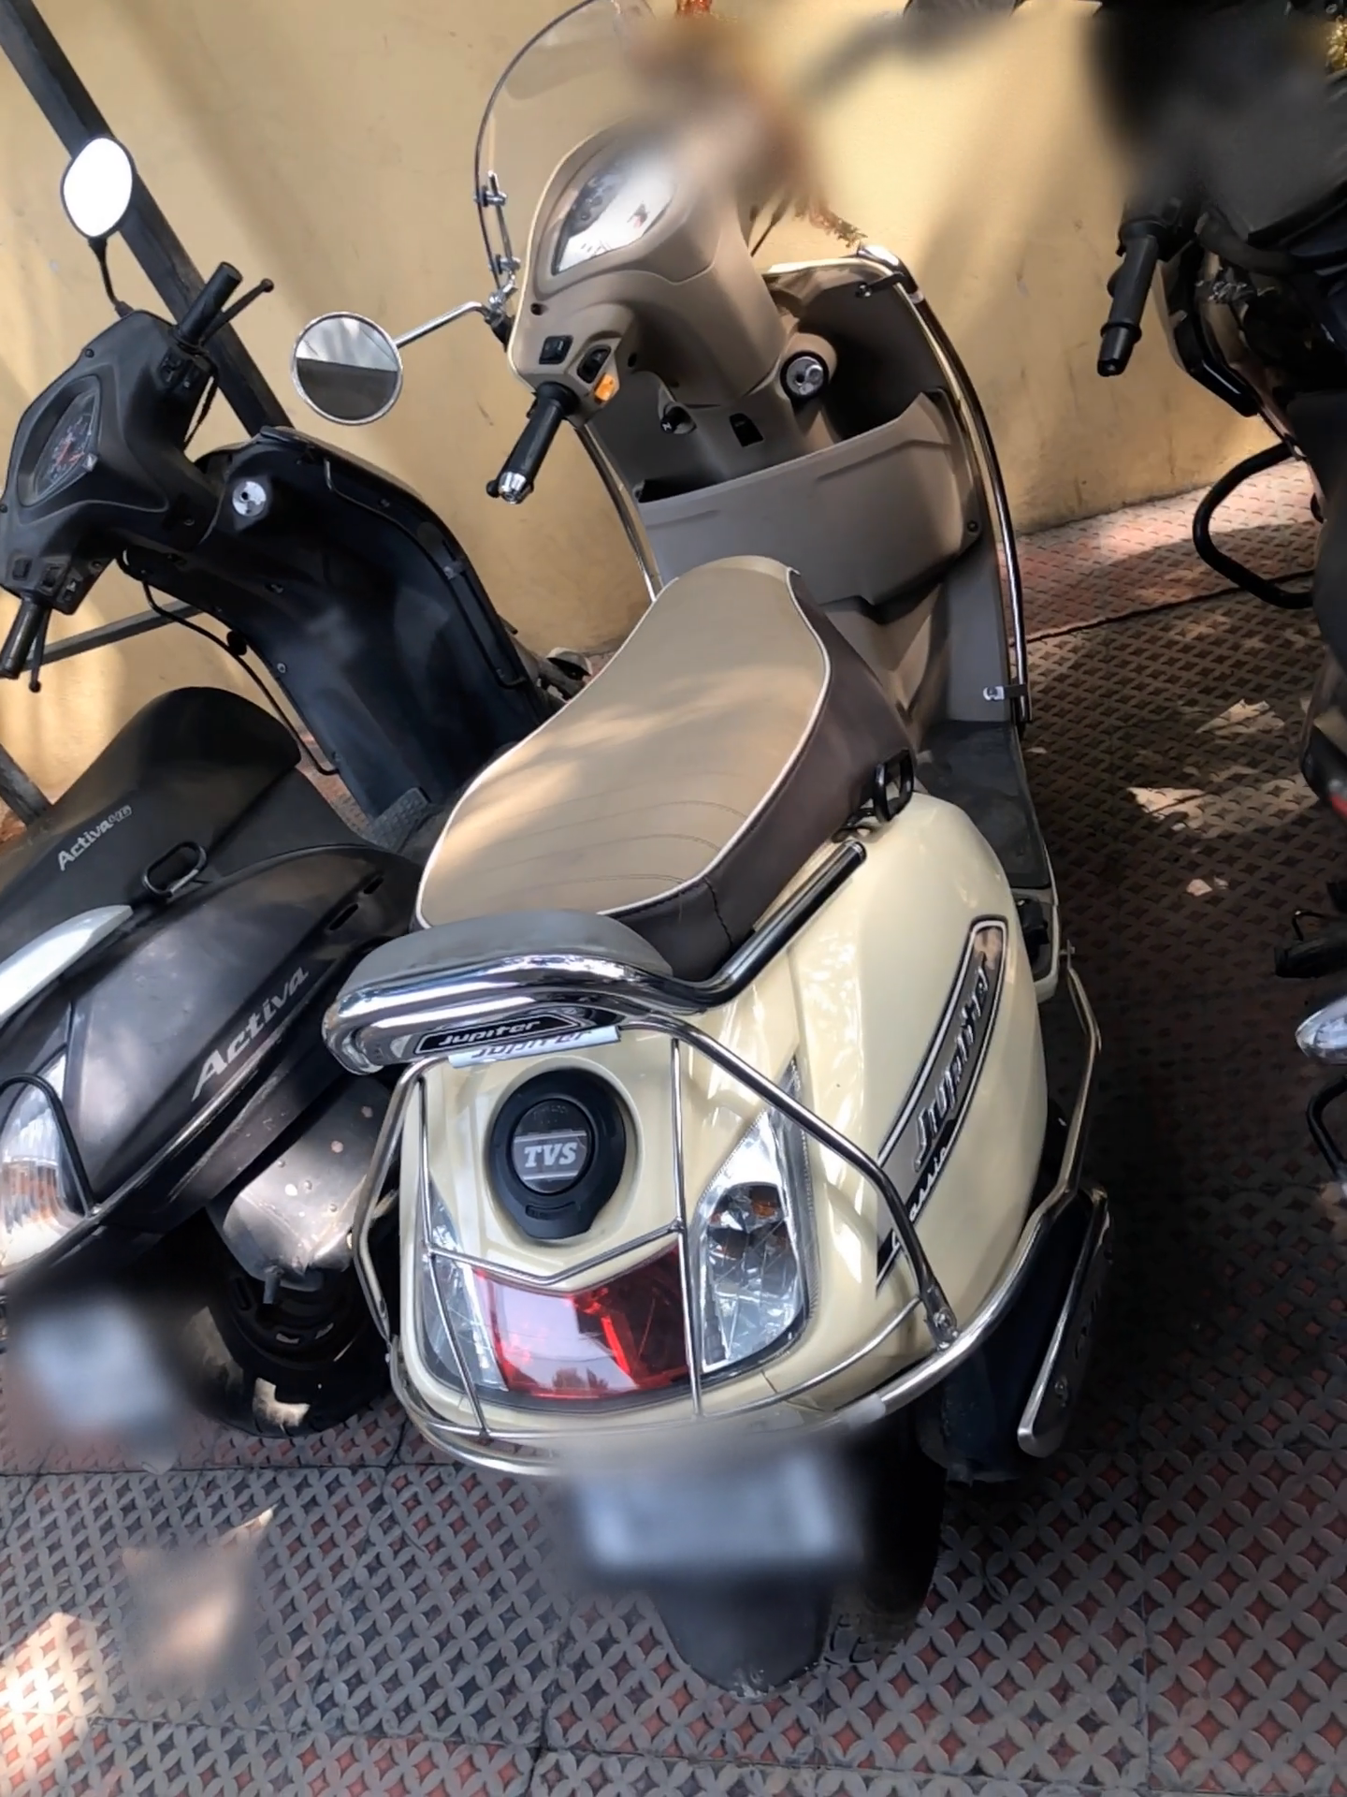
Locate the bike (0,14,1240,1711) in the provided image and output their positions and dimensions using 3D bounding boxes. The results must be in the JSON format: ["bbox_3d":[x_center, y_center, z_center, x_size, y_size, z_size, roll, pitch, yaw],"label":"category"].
[{"bbox_3d":[0.010,-0.168,1.646,0.645,0.998,1.635,-16,37,19],"label":"bike"}]
